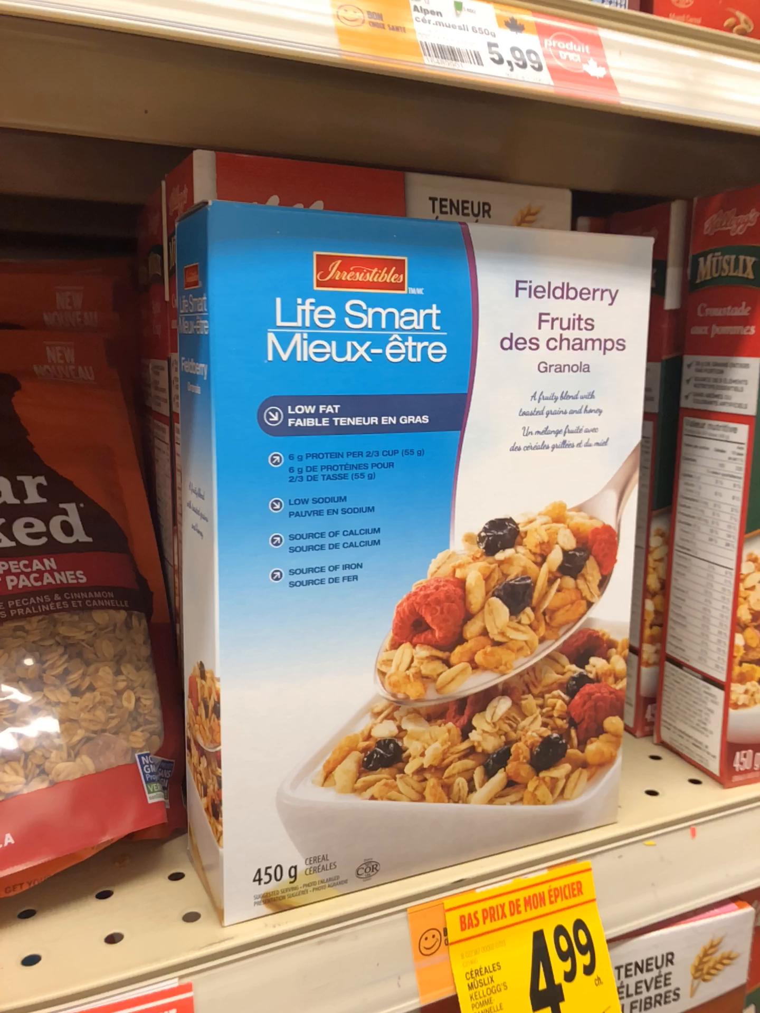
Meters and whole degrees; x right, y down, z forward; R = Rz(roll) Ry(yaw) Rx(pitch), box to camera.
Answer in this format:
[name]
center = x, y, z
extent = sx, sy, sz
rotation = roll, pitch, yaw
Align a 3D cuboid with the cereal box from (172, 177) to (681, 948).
[cereal box]
center = 0.017, 0.017, 0.311
extent = 0.170, 0.239, 0.050
rotation = -4, 11, -23
